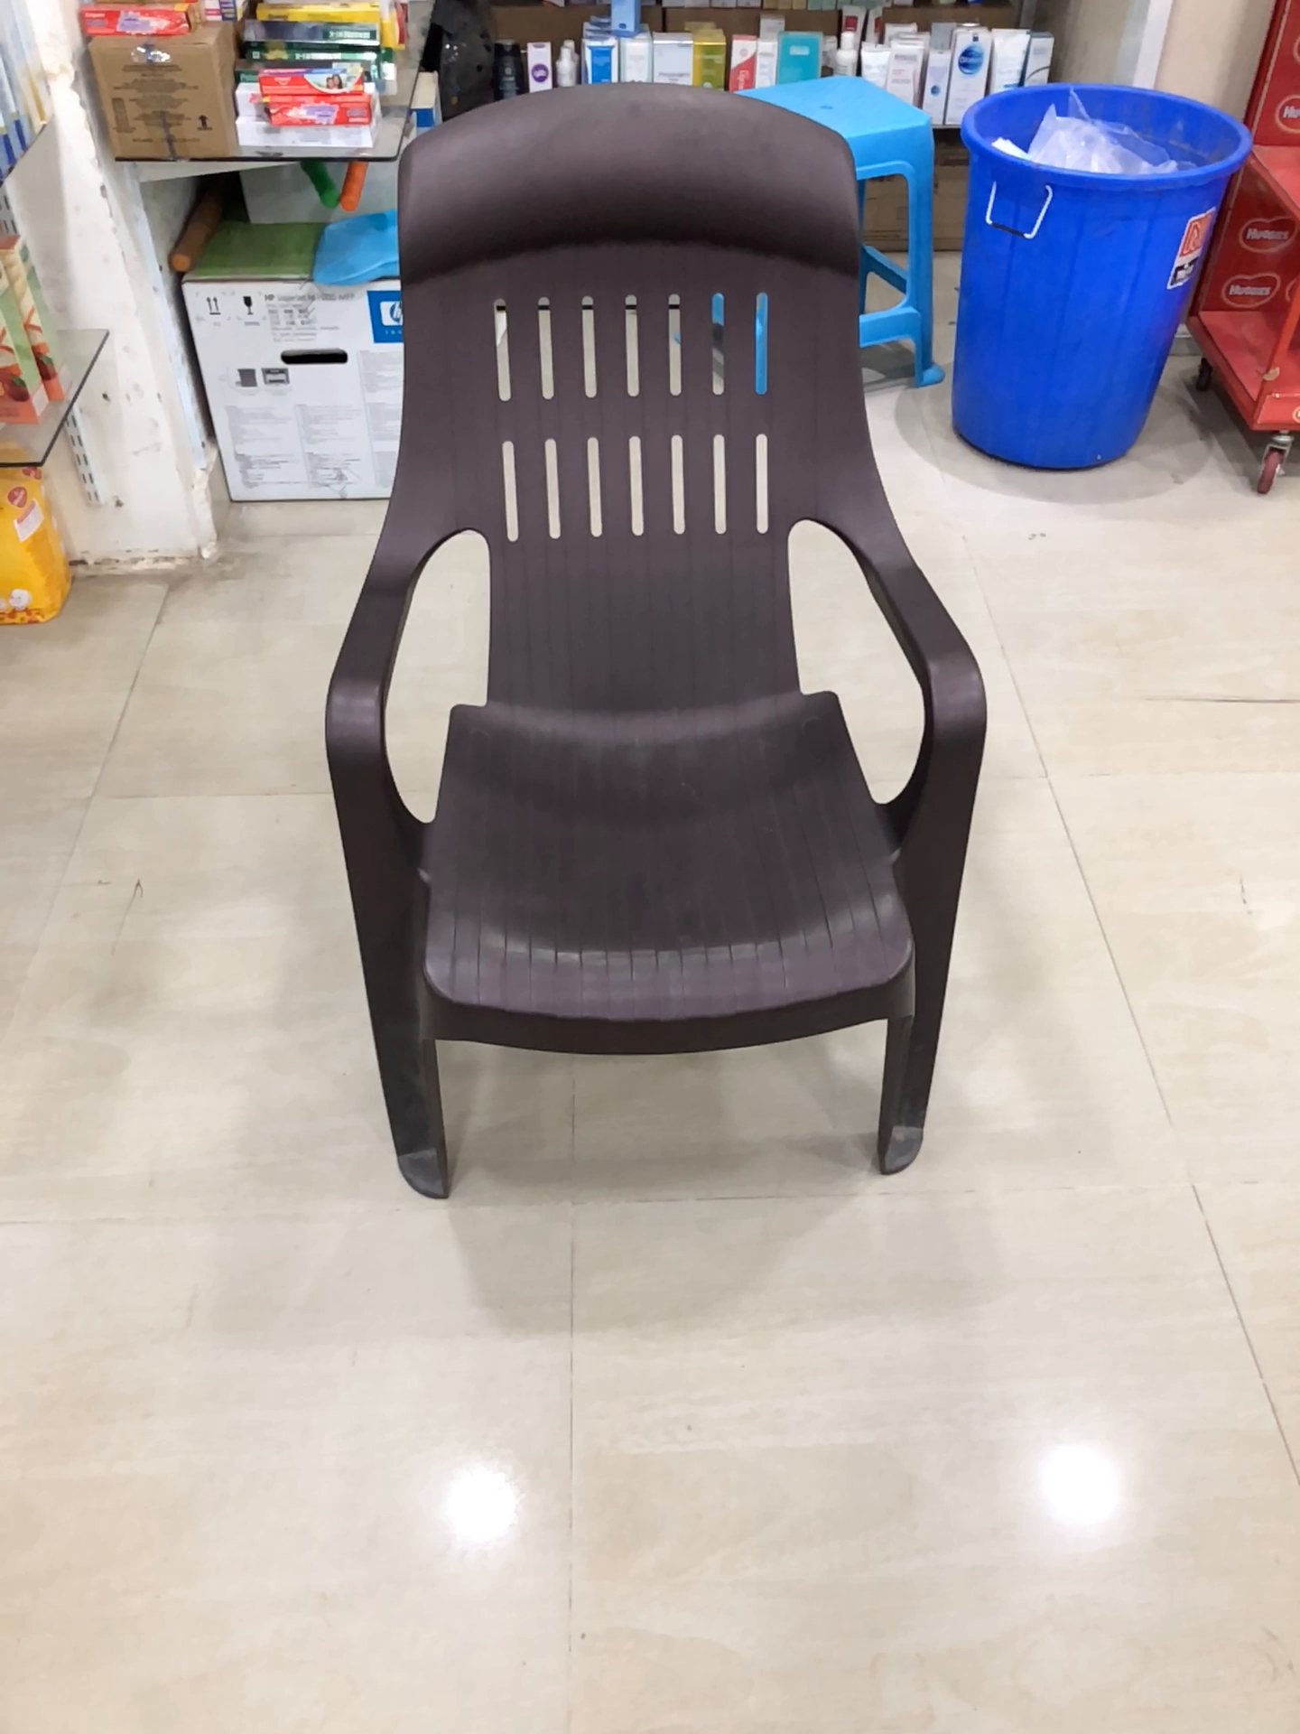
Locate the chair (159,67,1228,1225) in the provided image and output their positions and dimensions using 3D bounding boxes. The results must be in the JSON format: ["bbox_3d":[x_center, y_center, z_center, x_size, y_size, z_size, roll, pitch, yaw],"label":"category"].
[{"bbox_3d":[0.011,-0.202,1.374,0.630,0.844,0.684,-2,44,-3],"label":"chair"}]
